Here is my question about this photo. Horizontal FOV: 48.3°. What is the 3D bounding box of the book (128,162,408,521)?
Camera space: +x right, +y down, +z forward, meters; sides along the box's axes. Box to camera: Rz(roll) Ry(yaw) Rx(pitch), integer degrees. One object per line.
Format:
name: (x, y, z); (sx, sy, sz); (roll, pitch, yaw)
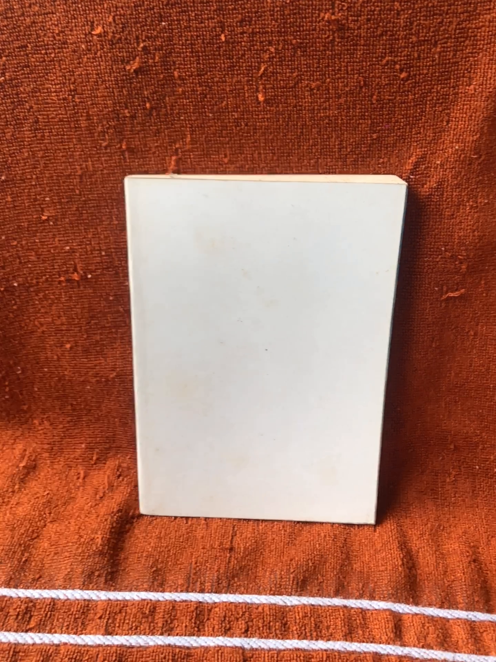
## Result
book: (0.007, 0.008, 0.328); (0.150, 0.200, 0.030); (2, 9, 1)
